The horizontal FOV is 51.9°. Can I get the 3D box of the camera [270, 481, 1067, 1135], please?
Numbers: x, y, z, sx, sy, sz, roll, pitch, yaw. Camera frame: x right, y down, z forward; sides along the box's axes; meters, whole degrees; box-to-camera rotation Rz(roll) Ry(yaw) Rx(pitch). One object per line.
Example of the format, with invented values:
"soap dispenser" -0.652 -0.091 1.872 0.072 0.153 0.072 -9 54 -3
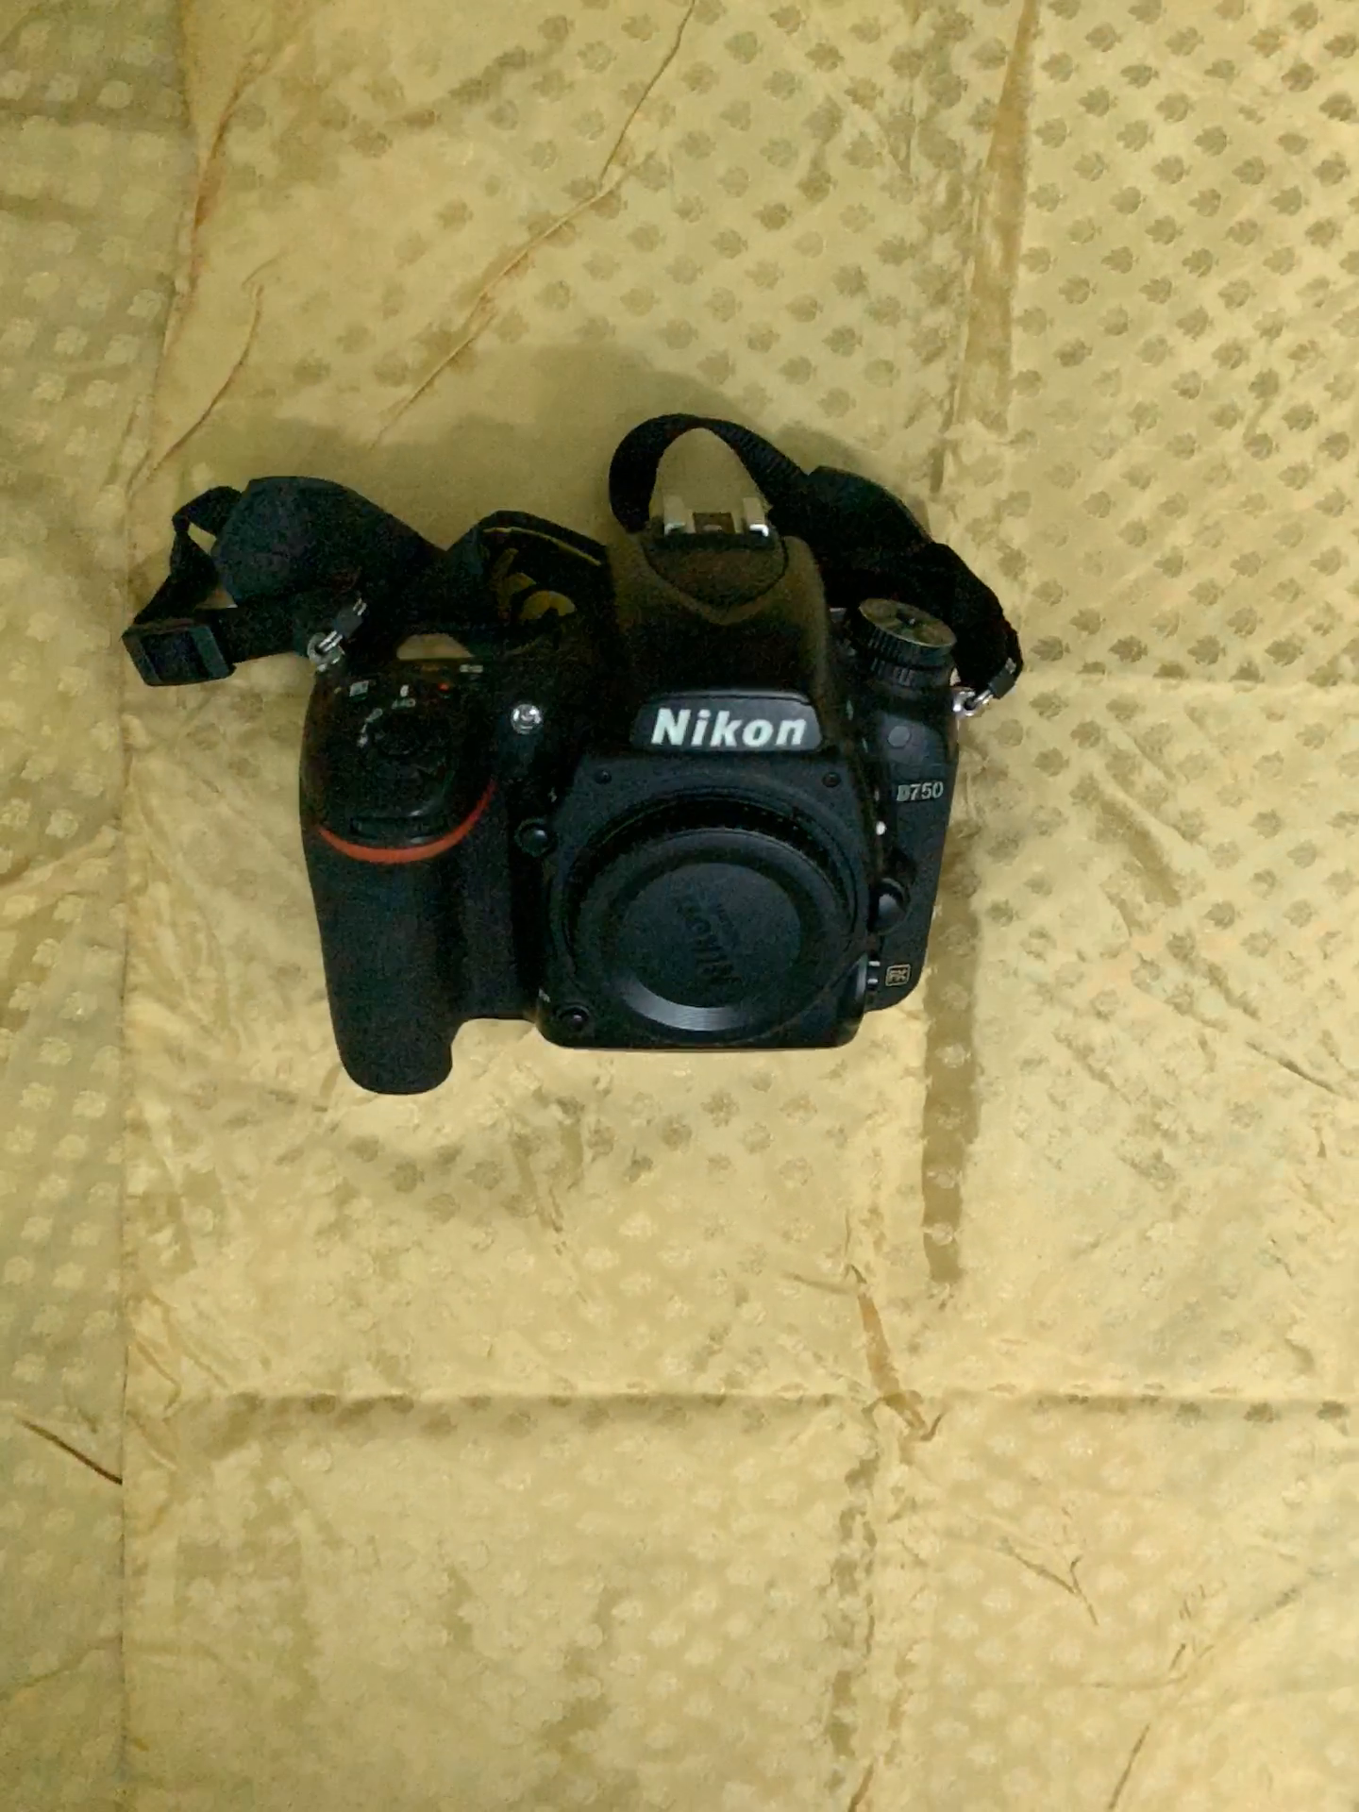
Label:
"camera" -0.005 -0.019 0.289 0.130 0.073 0.111 1 126 -3
